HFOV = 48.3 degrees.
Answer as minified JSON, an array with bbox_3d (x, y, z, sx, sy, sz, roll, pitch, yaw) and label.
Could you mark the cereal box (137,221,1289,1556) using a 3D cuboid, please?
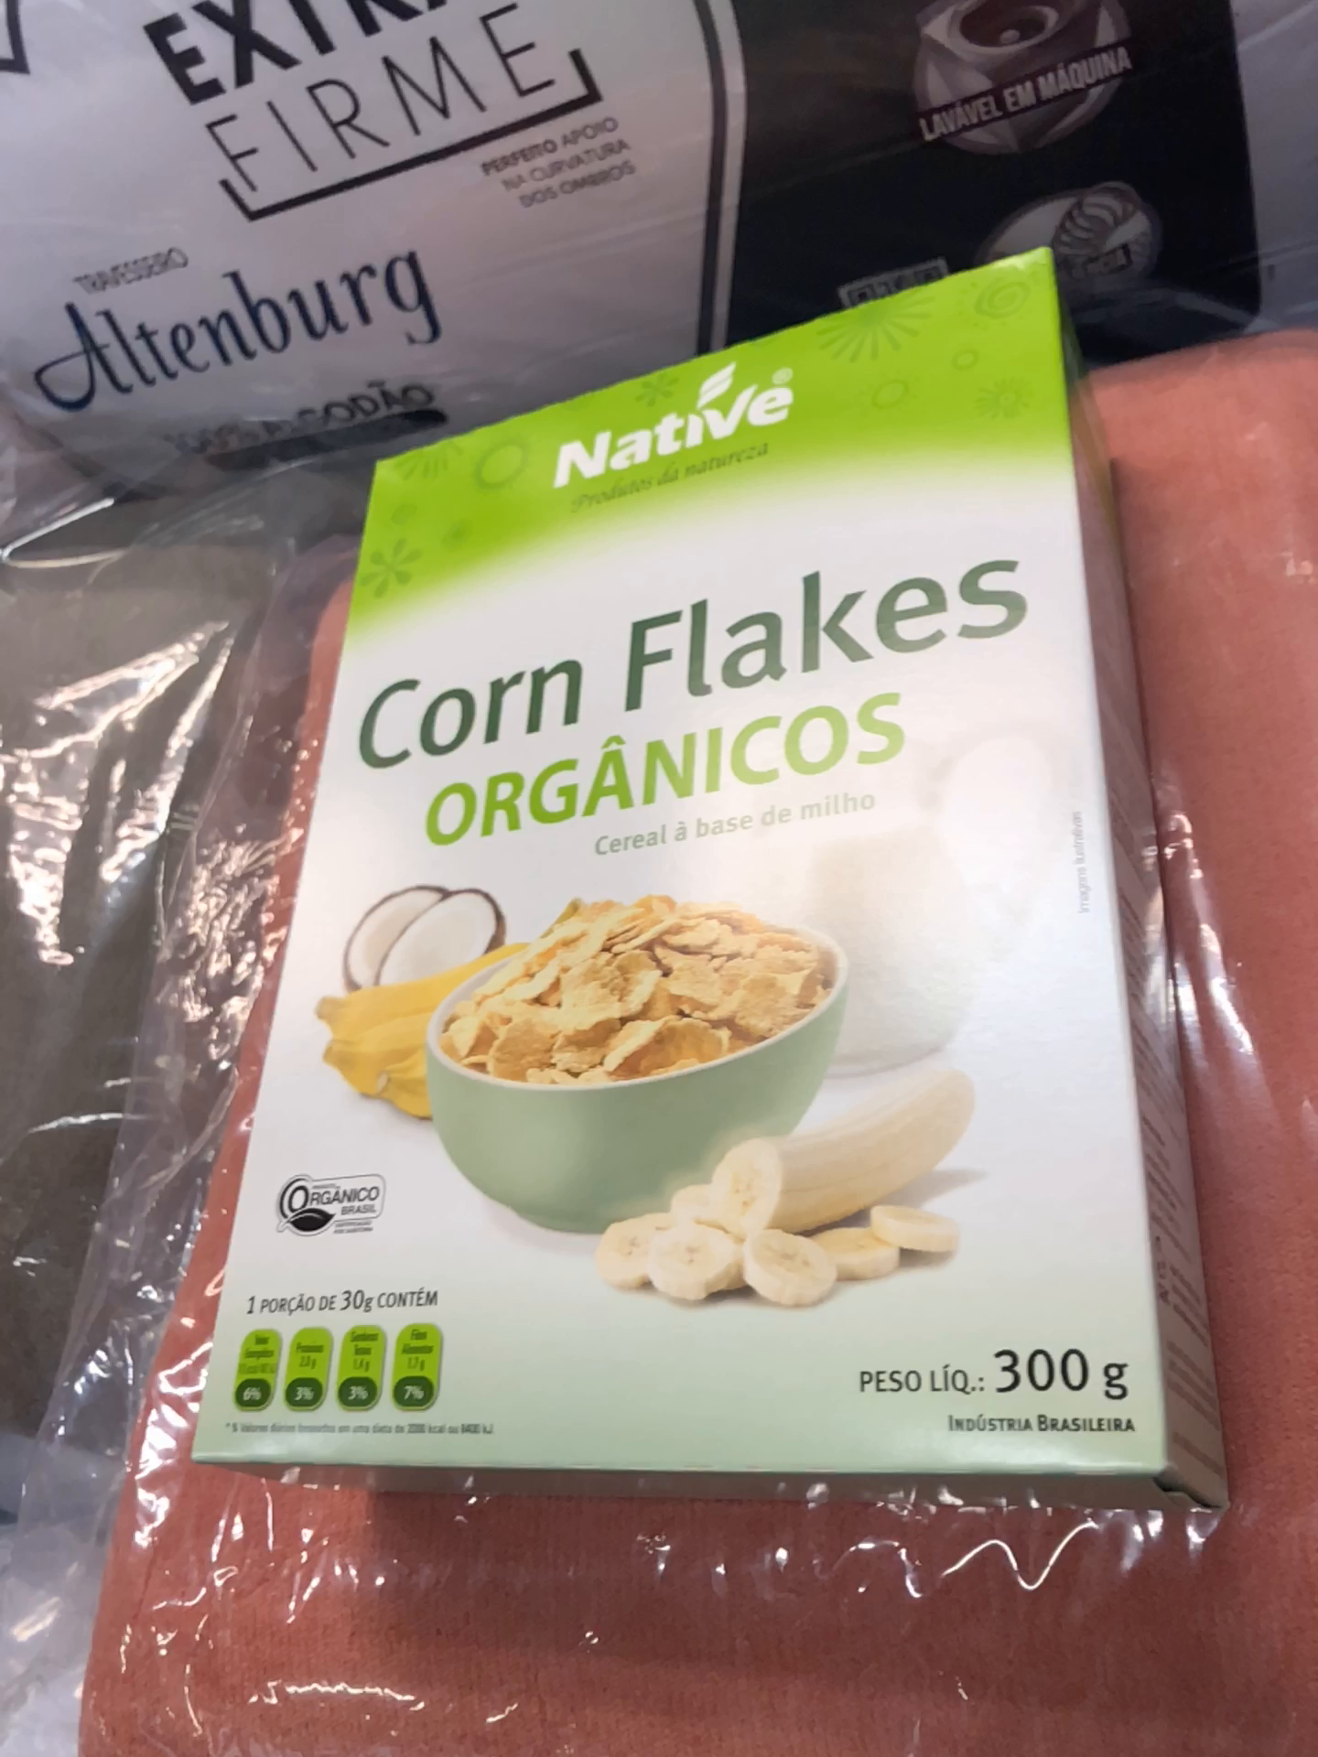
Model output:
[{"bbox_3d":[0.012,-0.001,0.298,0.180,0.060,0.241,-8,60,22],"label":"cereal box"}]
